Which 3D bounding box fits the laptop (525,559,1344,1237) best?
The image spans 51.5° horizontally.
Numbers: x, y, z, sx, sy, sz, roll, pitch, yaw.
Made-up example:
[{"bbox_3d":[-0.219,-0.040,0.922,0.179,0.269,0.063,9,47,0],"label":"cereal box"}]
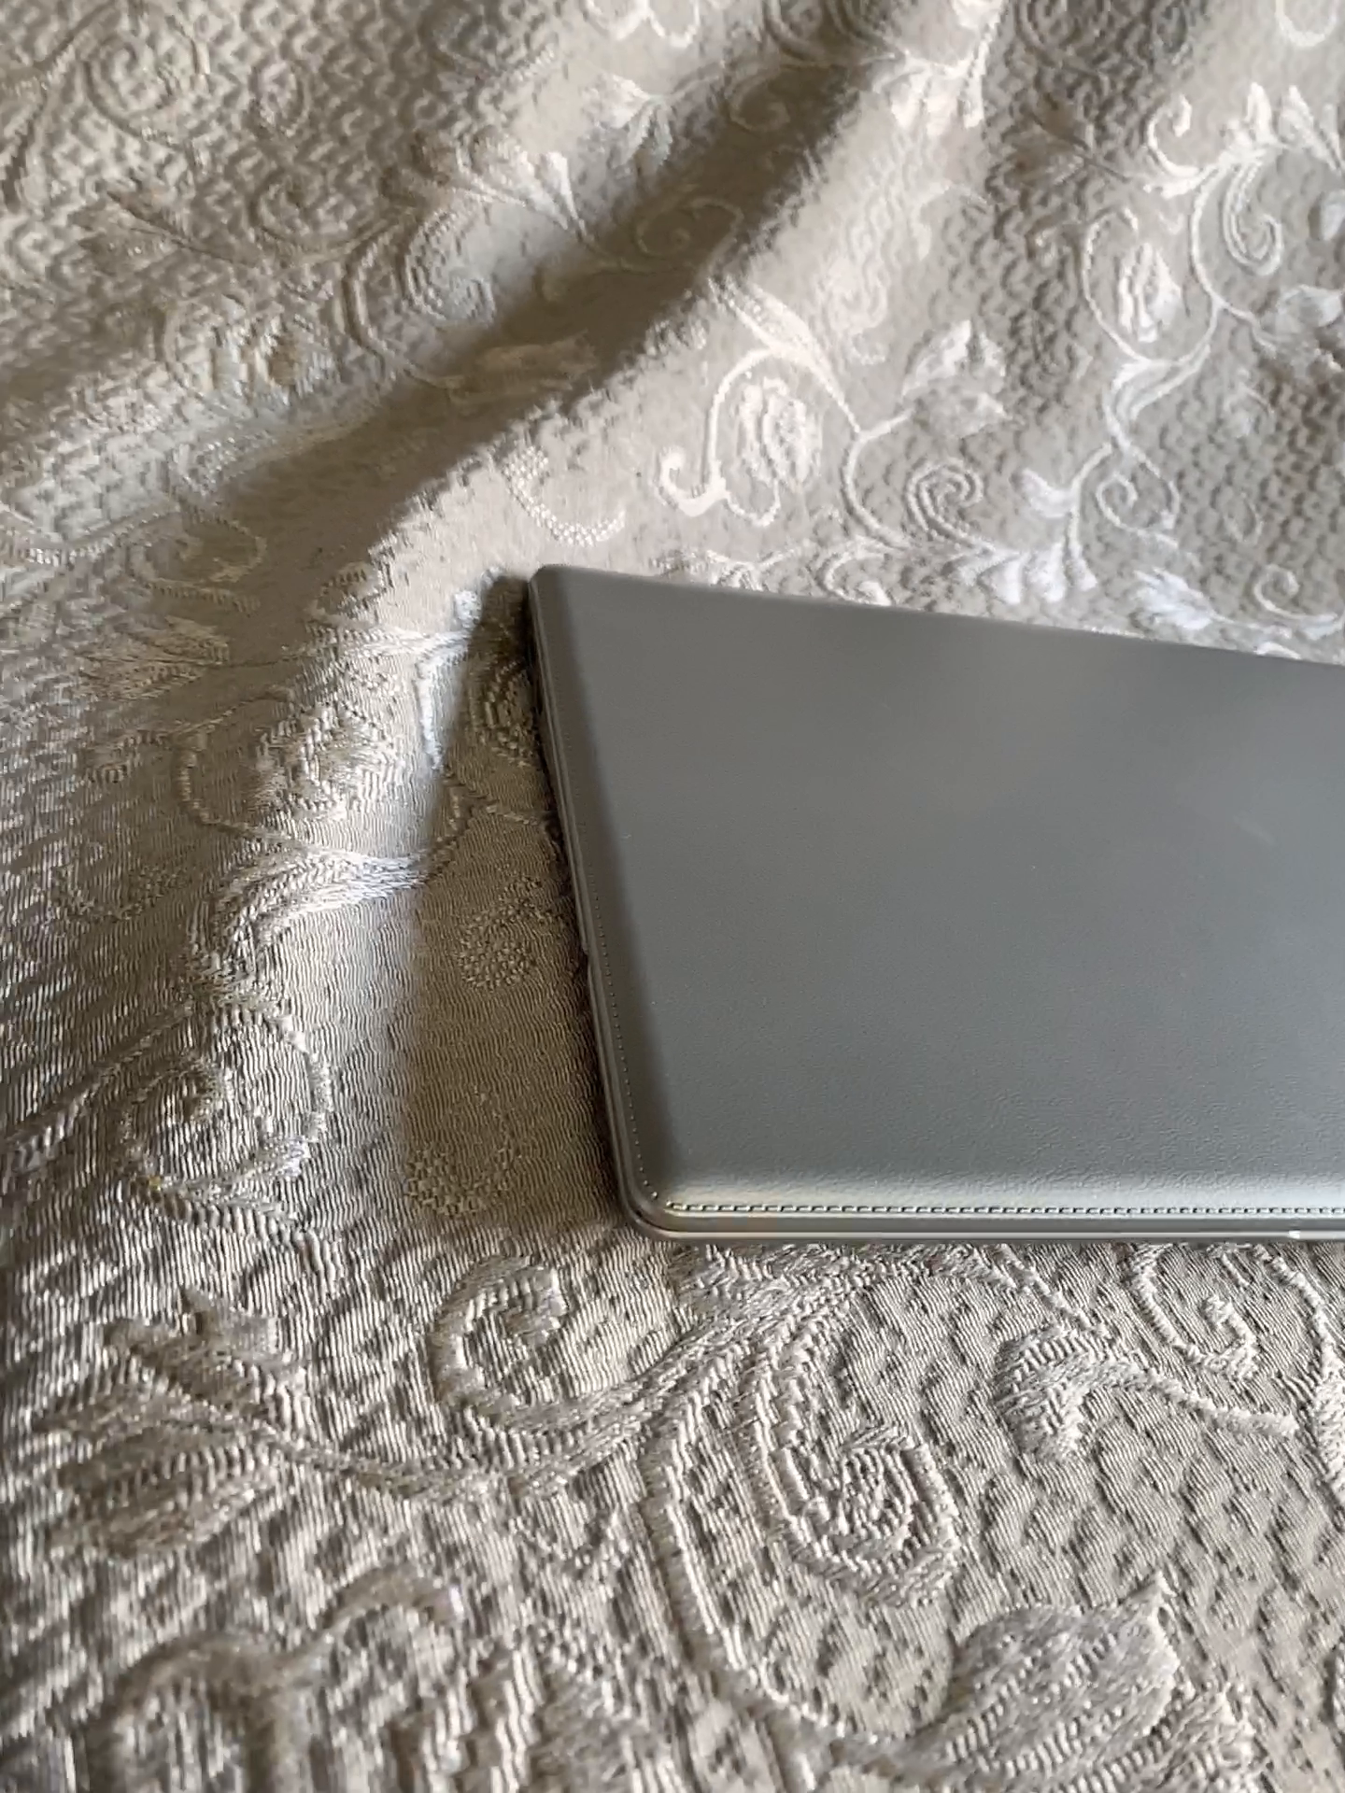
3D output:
[{"bbox_3d":[0.107,-0.007,0.304,0.264,0.005,0.176,3,44,-17],"label":"laptop"}]
